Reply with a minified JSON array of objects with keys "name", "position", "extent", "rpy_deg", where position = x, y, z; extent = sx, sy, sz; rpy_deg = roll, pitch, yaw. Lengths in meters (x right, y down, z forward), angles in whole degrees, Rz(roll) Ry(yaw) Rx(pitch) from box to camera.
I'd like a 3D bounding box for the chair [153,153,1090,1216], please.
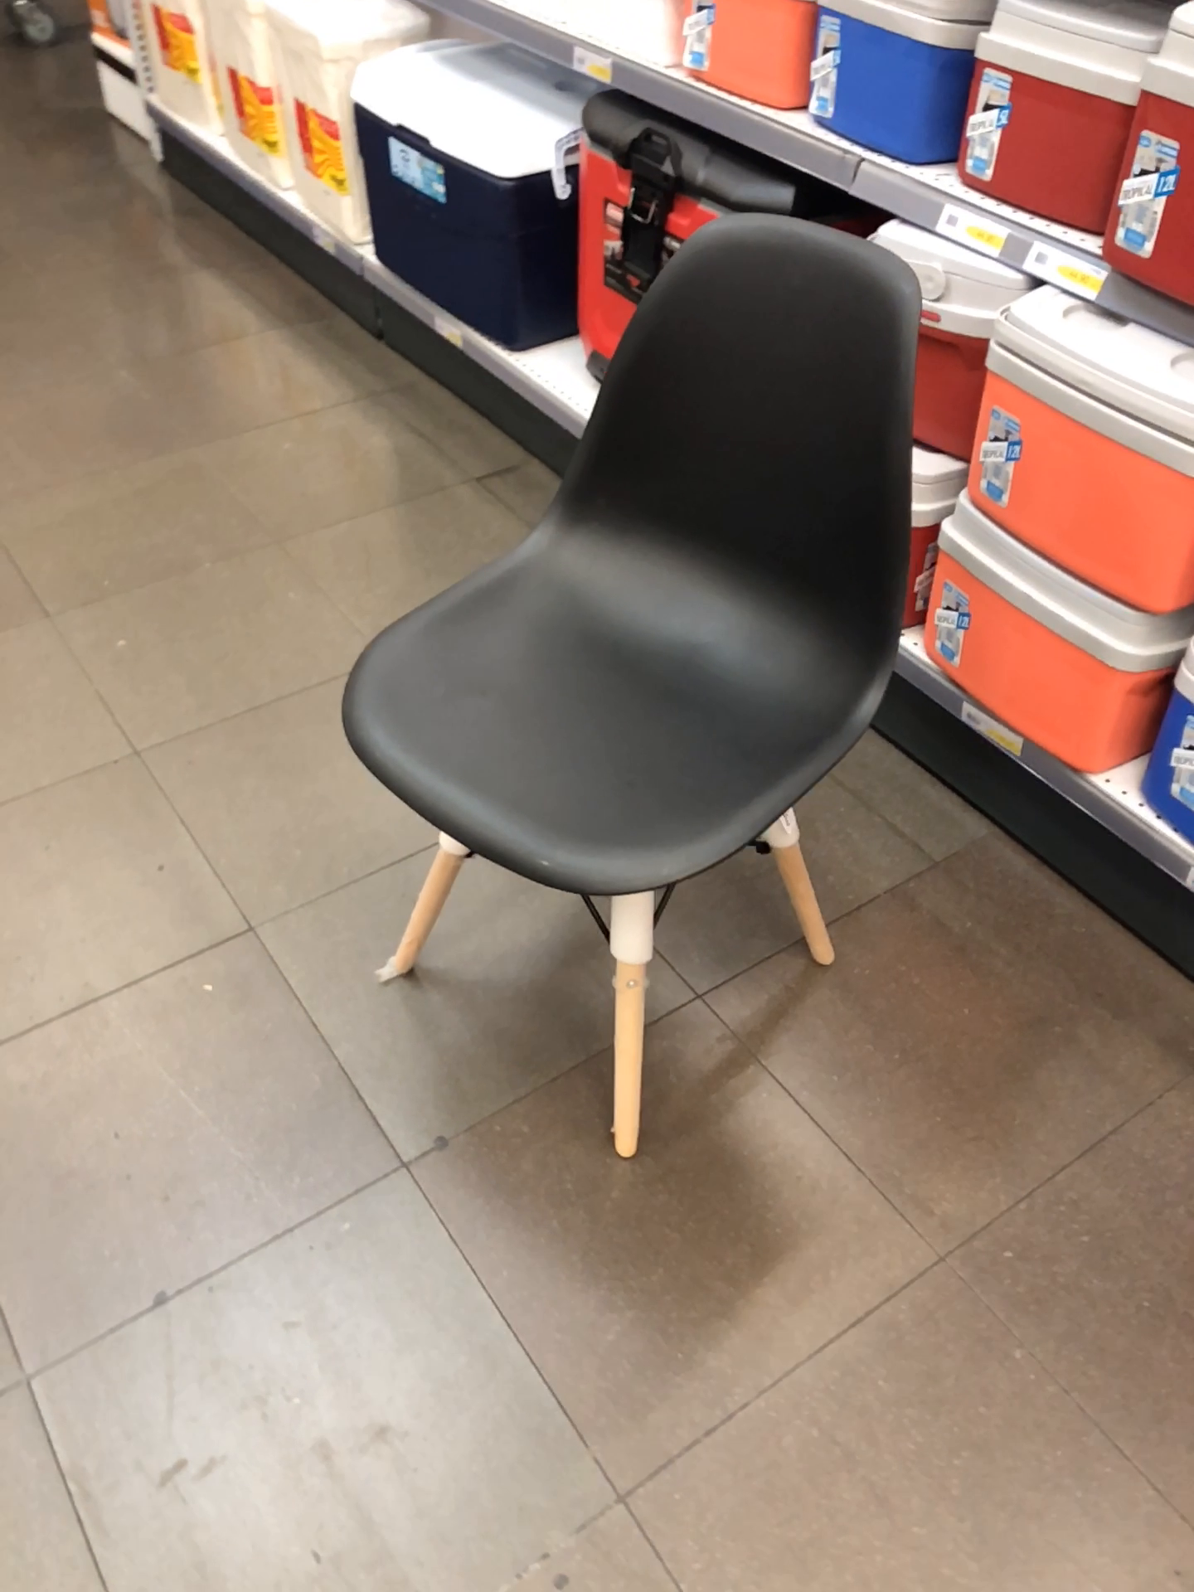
[{"name":"chair","position":[0.027,-0.123,1.275],"extent":[0.502,0.724,0.552],"rpy_deg":[32,51,30]}]
